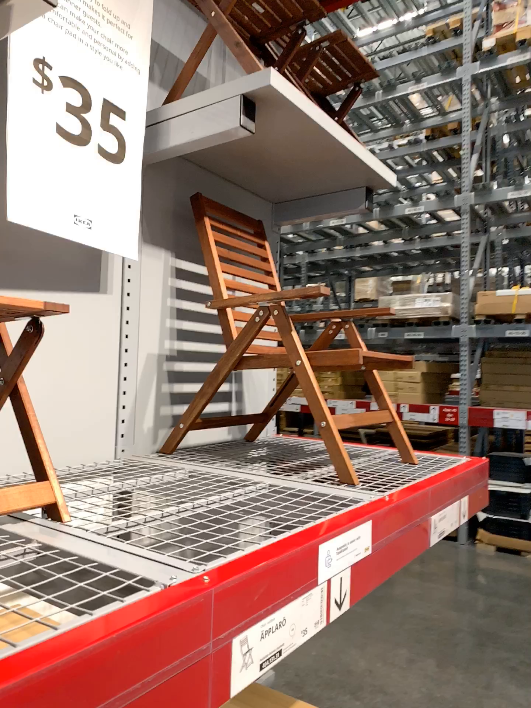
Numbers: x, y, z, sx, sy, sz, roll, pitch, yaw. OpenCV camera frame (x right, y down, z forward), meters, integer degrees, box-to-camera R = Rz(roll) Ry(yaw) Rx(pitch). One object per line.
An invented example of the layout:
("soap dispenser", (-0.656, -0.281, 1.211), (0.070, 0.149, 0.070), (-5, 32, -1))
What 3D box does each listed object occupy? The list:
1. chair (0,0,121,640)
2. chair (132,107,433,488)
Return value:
("chair", (-0.742, -0.132, 1.013), (0.631, 0.885, 0.615), (0, -3, 33))
("chair", (0.073, -0.152, 1.988), (0.891, 1.055, 0.615), (0, -3, 33))
